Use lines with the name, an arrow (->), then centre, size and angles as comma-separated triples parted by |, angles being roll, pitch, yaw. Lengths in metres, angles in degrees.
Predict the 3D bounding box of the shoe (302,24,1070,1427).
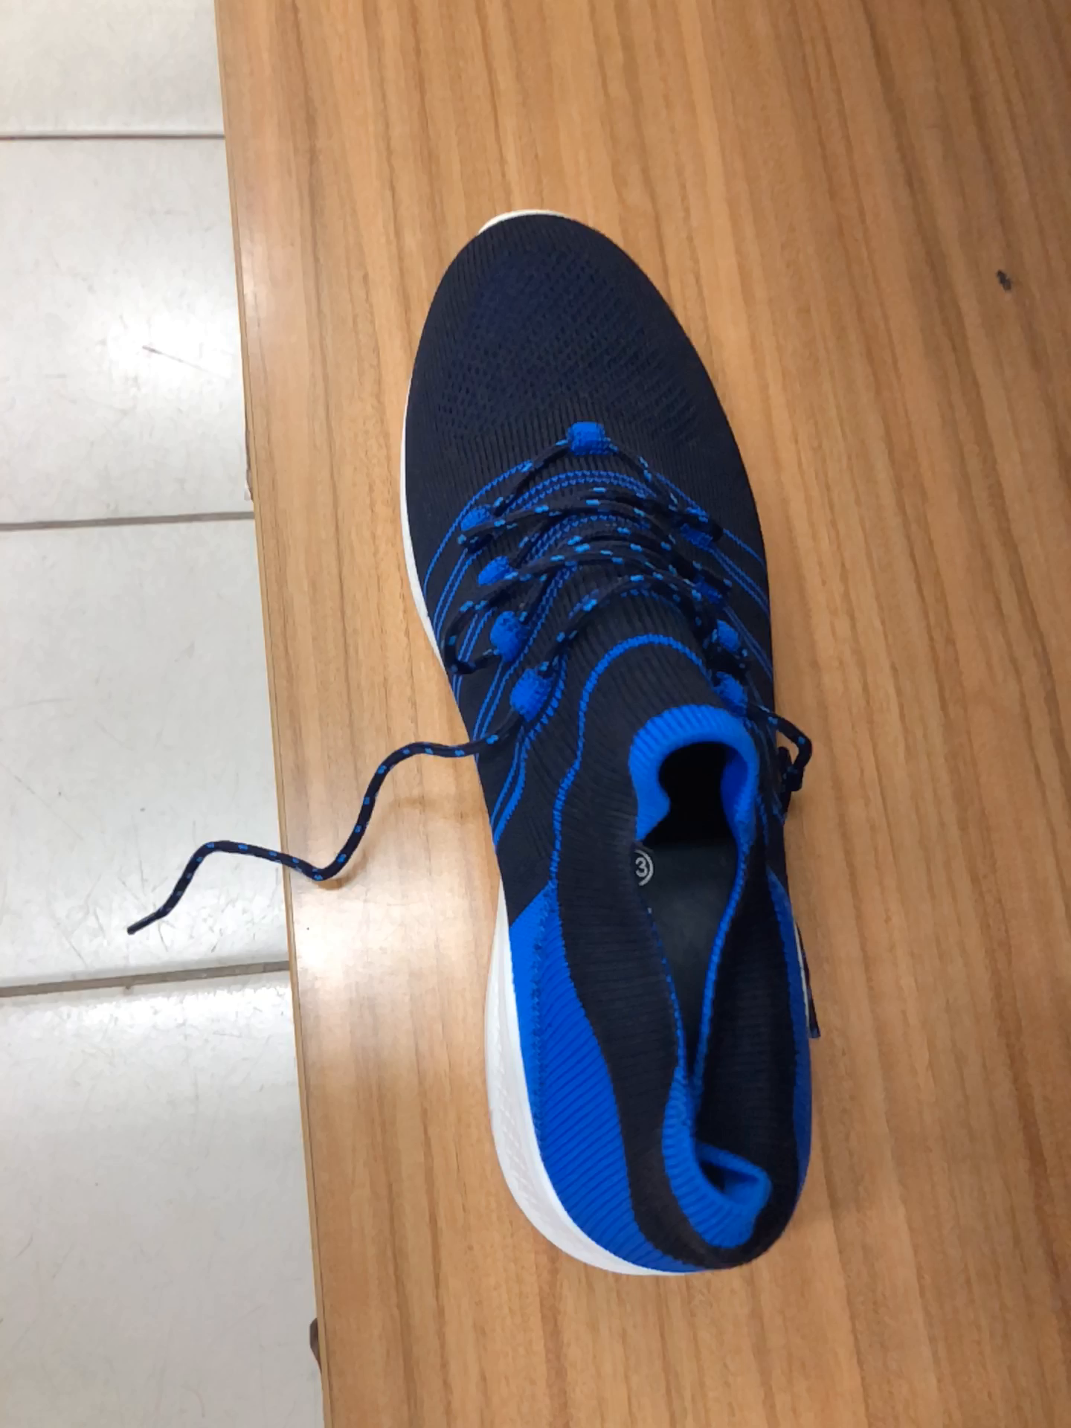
shoe -> 0.024, 0.002, 0.263 | 0.110, 0.110, 0.260 | -8, 77, -8
